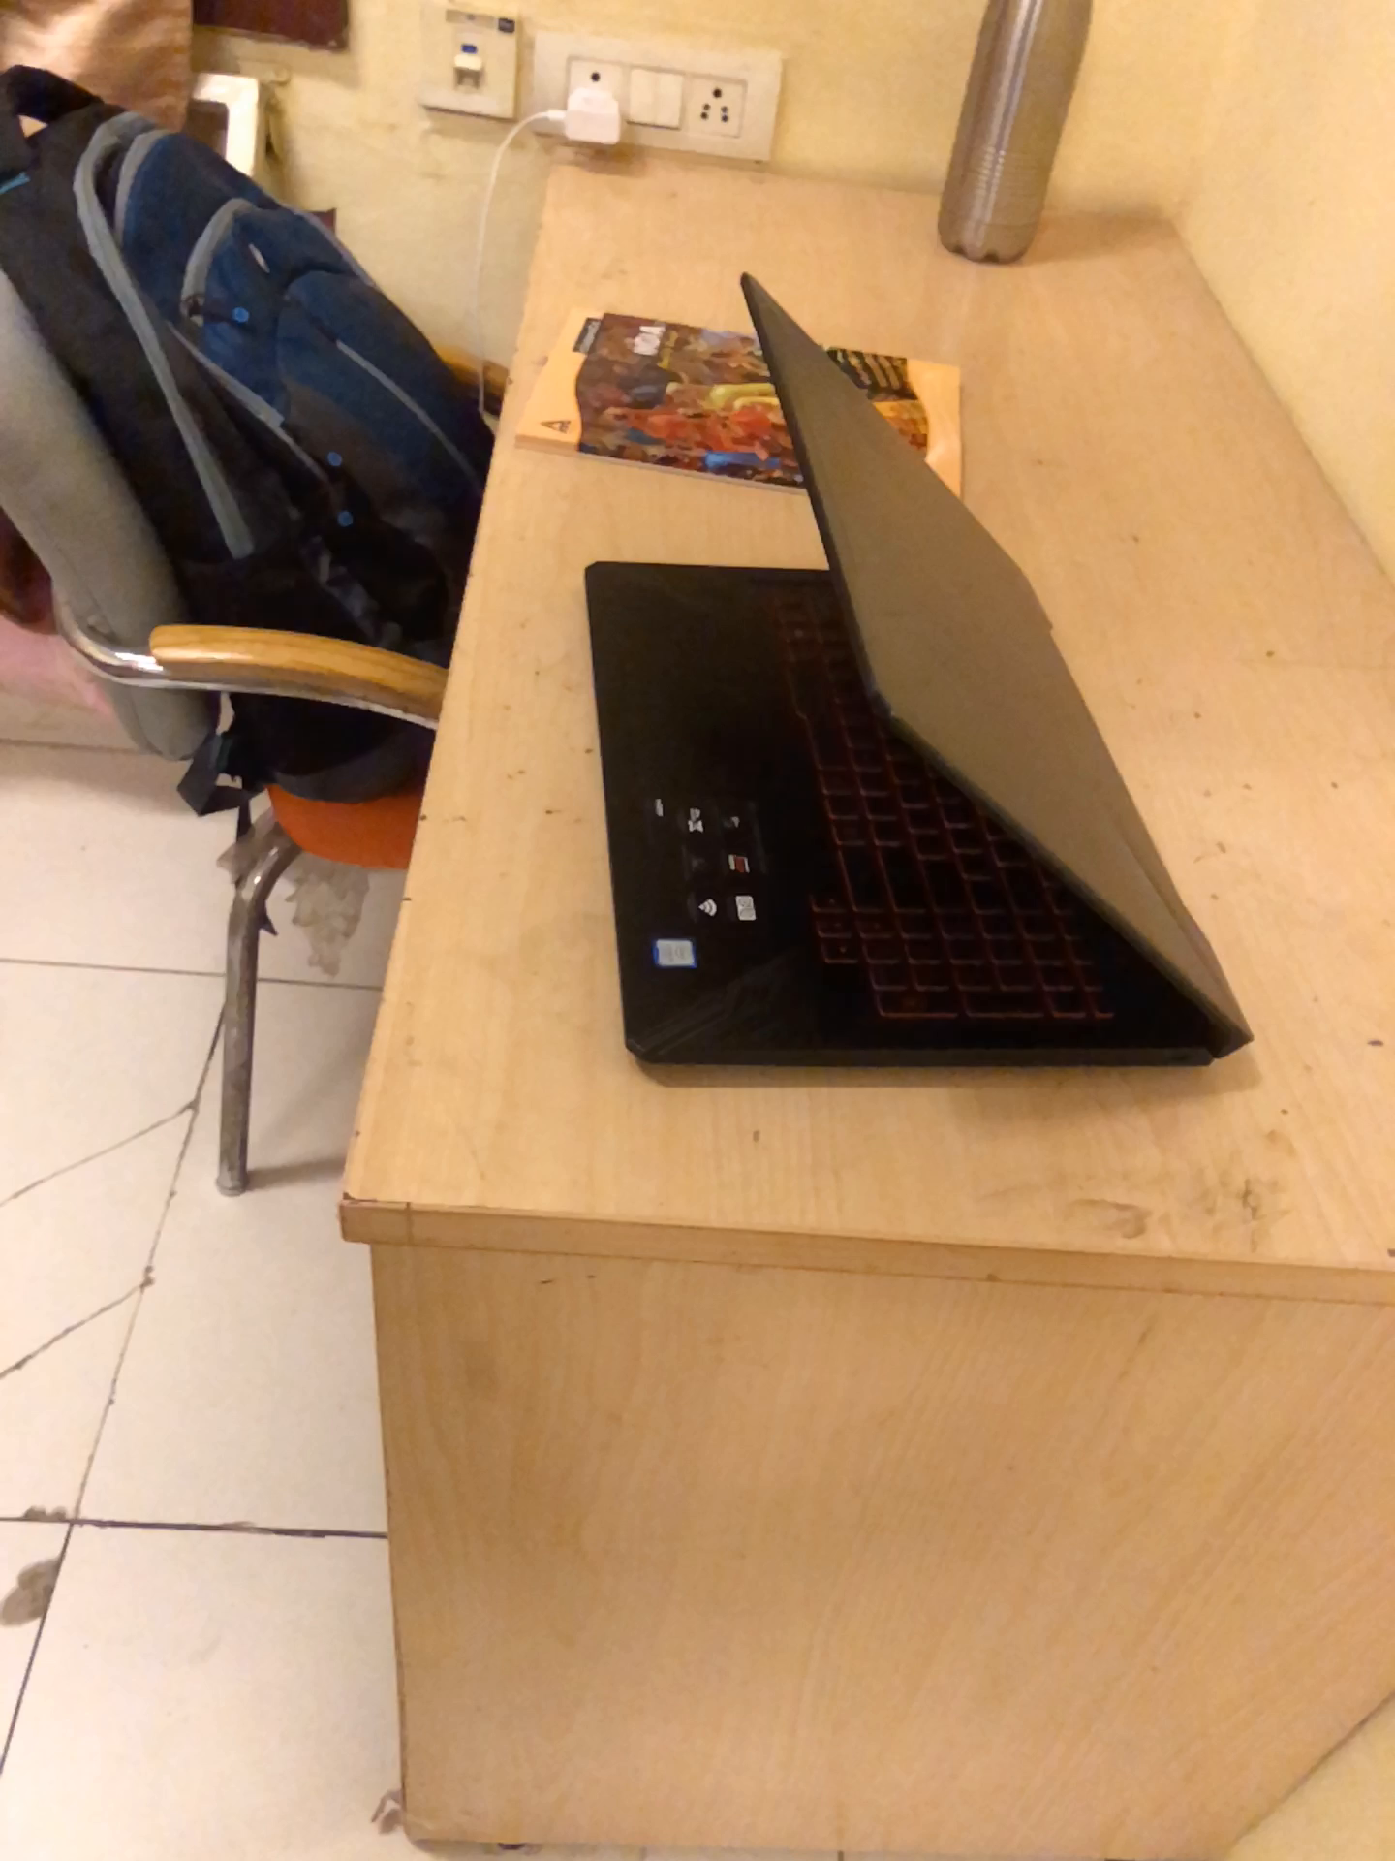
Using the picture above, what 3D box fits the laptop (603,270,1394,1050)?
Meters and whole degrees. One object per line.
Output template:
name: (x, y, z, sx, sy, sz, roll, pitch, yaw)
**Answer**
laptop: (0.097, -0.140, 0.716, 0.252, 0.173, 0.371, 2, 43, -9)
